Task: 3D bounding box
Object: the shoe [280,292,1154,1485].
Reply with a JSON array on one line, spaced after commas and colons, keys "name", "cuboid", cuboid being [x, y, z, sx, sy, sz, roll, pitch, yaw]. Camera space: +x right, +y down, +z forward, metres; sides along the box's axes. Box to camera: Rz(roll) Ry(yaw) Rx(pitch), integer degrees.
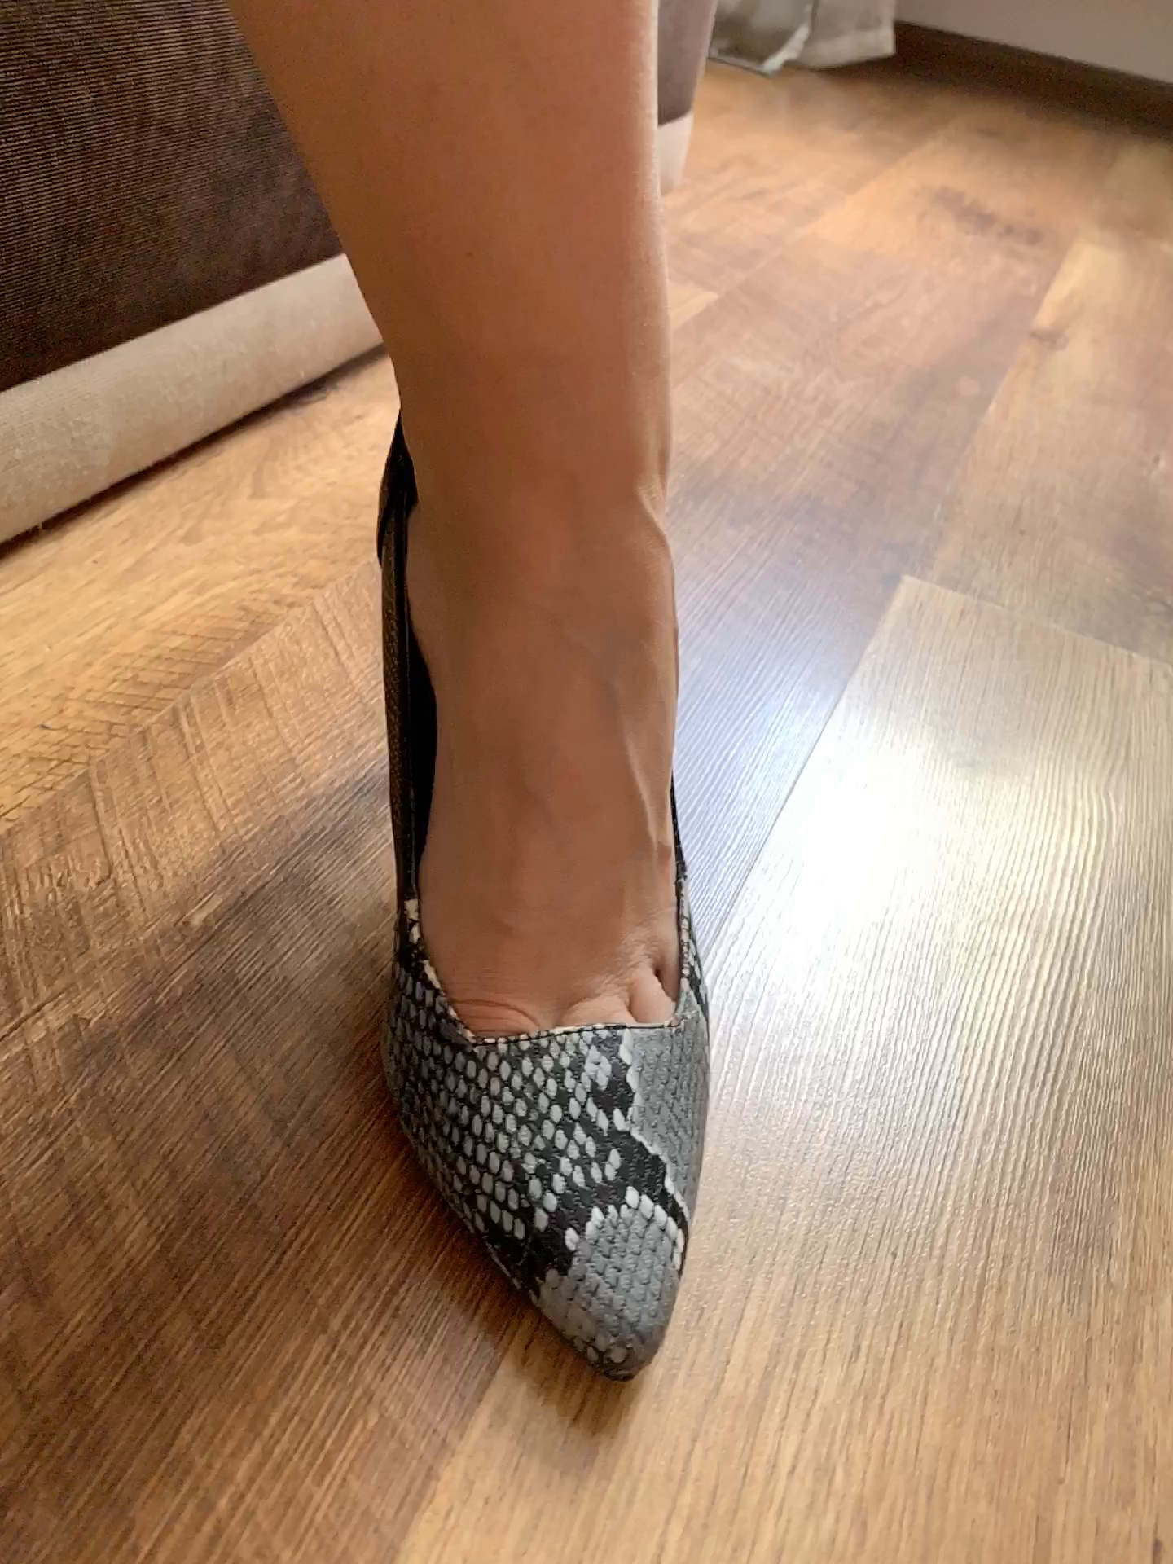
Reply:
[{"name": "shoe", "cuboid": [-0.010, -0.008, 0.273, 0.090, 0.109, 0.251, -4, 41, -18]}]
